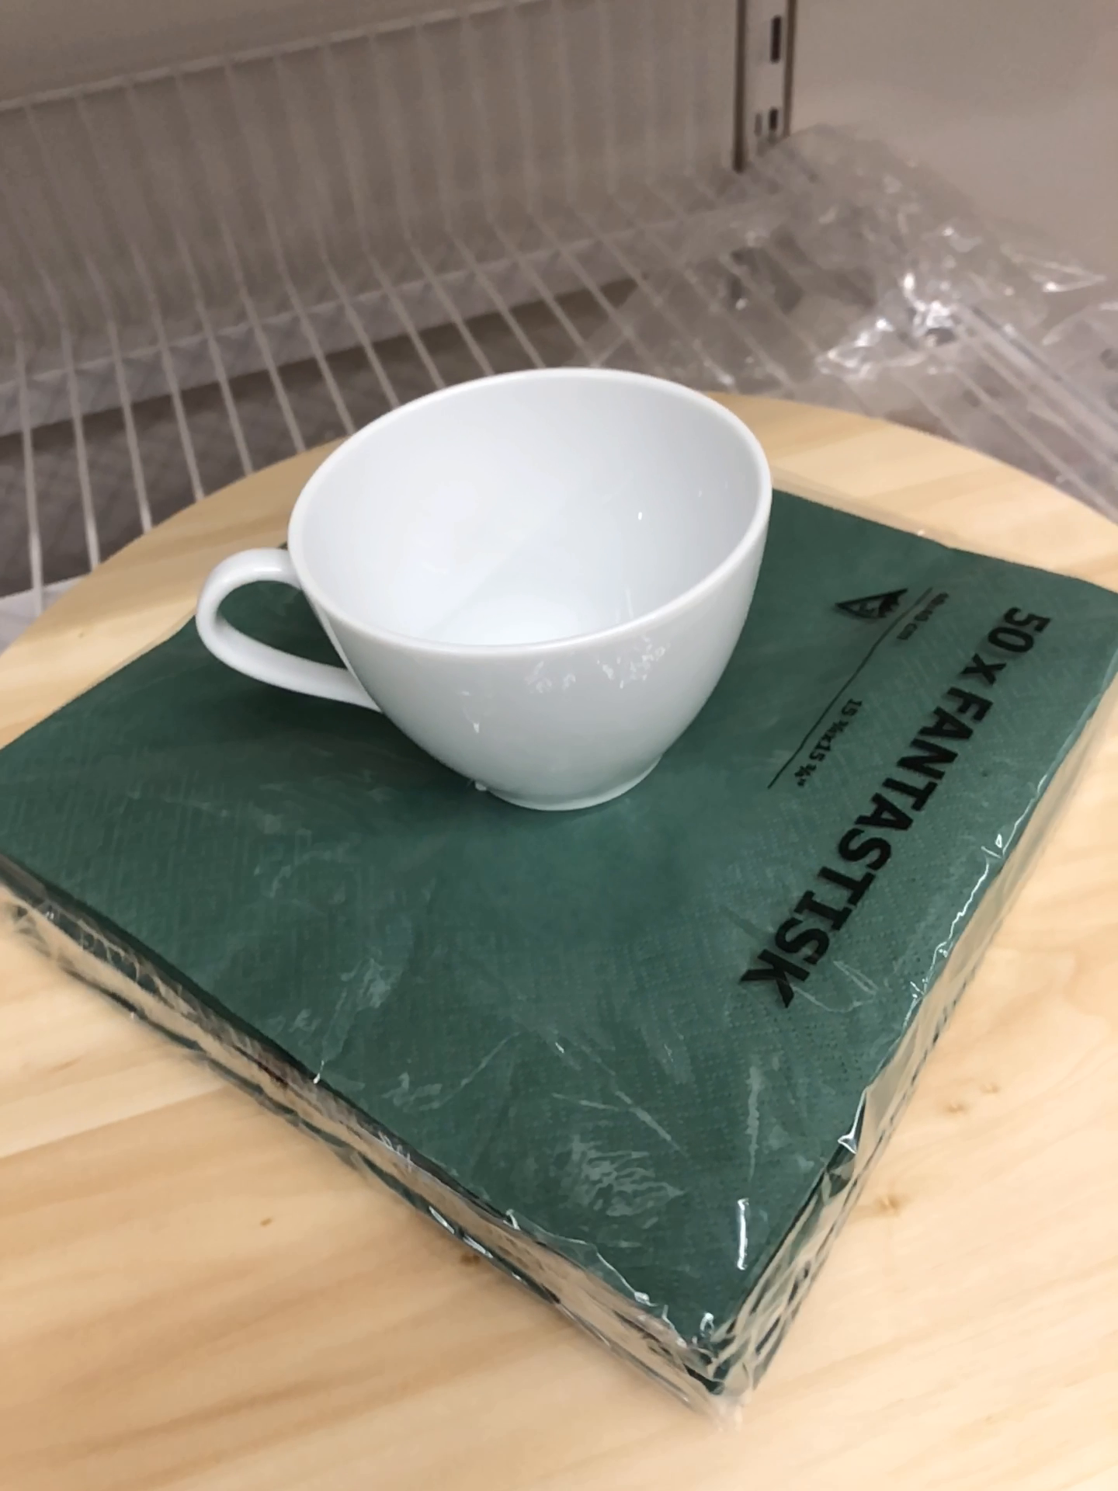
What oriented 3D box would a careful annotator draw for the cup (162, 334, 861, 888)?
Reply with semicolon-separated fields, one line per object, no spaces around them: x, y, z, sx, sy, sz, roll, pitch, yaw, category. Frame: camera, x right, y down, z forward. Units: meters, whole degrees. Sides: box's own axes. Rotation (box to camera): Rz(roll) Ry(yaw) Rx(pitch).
-0.012;-0.031;0.261;0.120;0.050;0.090;-10;46;-2;cup
